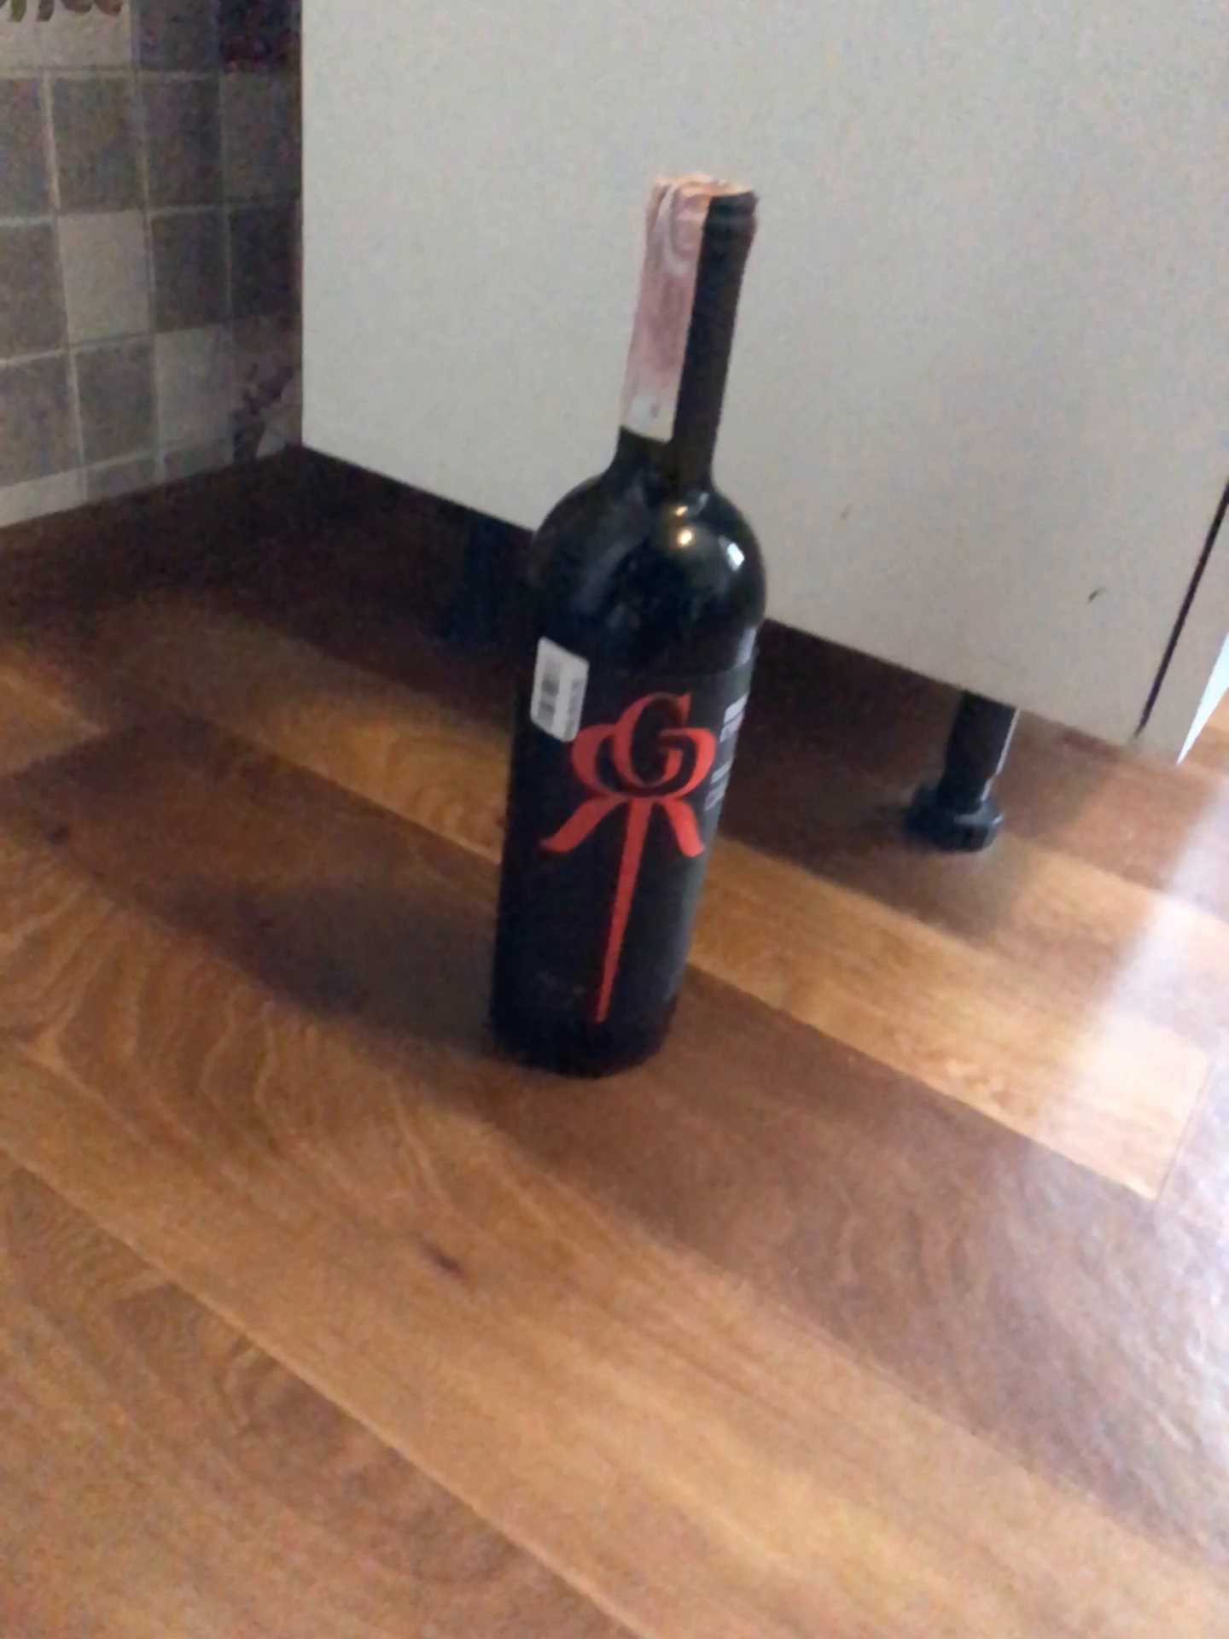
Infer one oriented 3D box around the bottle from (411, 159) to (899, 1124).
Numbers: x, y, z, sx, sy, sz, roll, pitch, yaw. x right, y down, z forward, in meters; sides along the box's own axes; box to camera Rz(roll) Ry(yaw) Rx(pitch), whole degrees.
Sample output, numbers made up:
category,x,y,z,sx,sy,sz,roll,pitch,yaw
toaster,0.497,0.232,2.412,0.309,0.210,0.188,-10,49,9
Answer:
category,x,y,z,sx,sy,sz,roll,pitch,yaw
bottle,0.002,-0.051,0.456,0.090,0.297,0.090,6,32,-4
